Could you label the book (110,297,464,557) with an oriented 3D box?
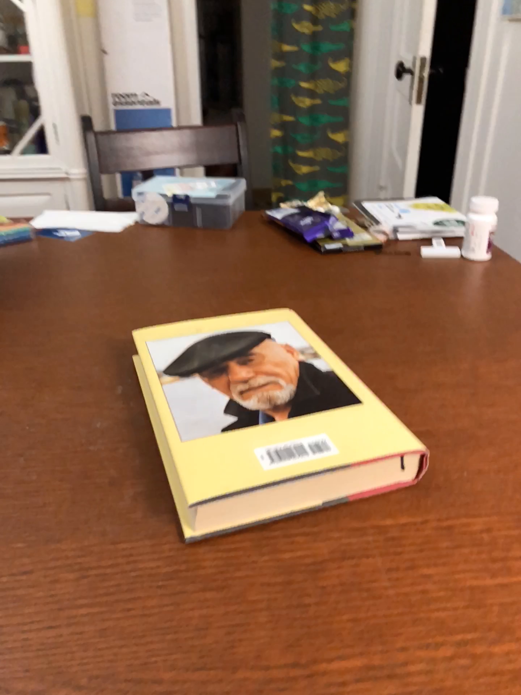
[{"bbox_3d":[-0.005,0.032,0.439,0.190,0.030,0.251,-9,28,-16],"label":"book"}]
